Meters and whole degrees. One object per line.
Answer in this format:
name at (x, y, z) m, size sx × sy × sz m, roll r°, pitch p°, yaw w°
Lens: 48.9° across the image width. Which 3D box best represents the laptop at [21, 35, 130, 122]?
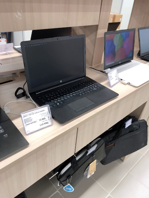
laptop at (0.001, -0.130, 0.761) m, size 0.358 × 0.222 × 0.297 m, roll -22°, pitch 43°, yaw -36°
